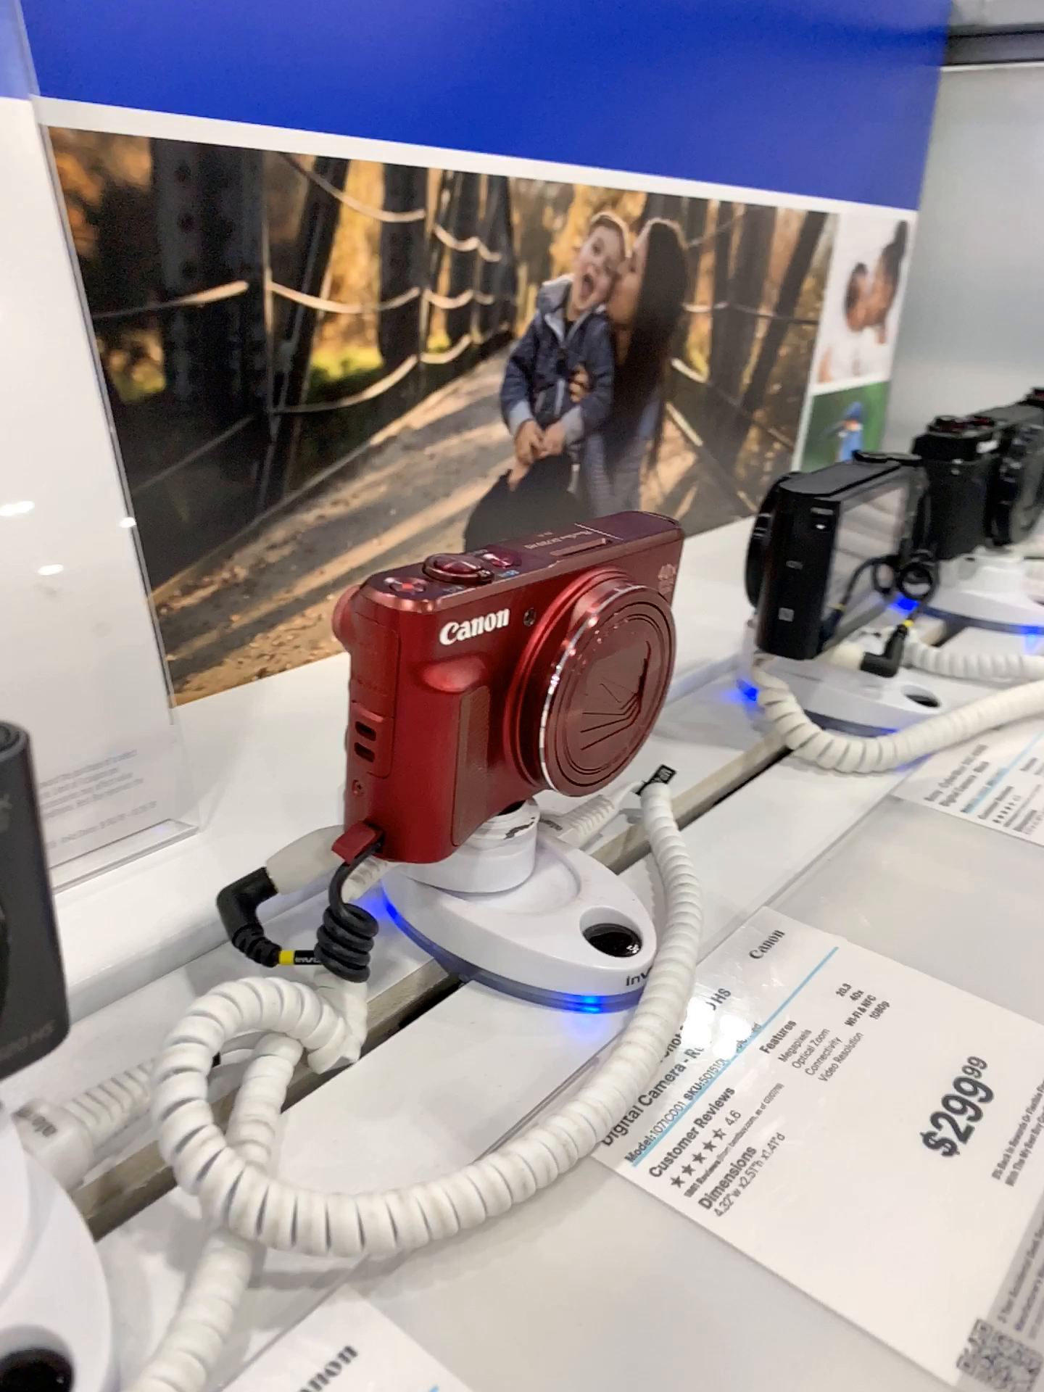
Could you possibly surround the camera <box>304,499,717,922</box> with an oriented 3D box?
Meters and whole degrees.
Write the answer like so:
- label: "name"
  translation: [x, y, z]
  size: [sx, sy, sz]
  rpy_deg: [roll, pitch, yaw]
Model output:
- label: "camera"
  translation: [0.000, -0.003, 0.266]
  size: [0.030, 0.070, 0.110]
  rpy_deg: [25, 32, 34]
